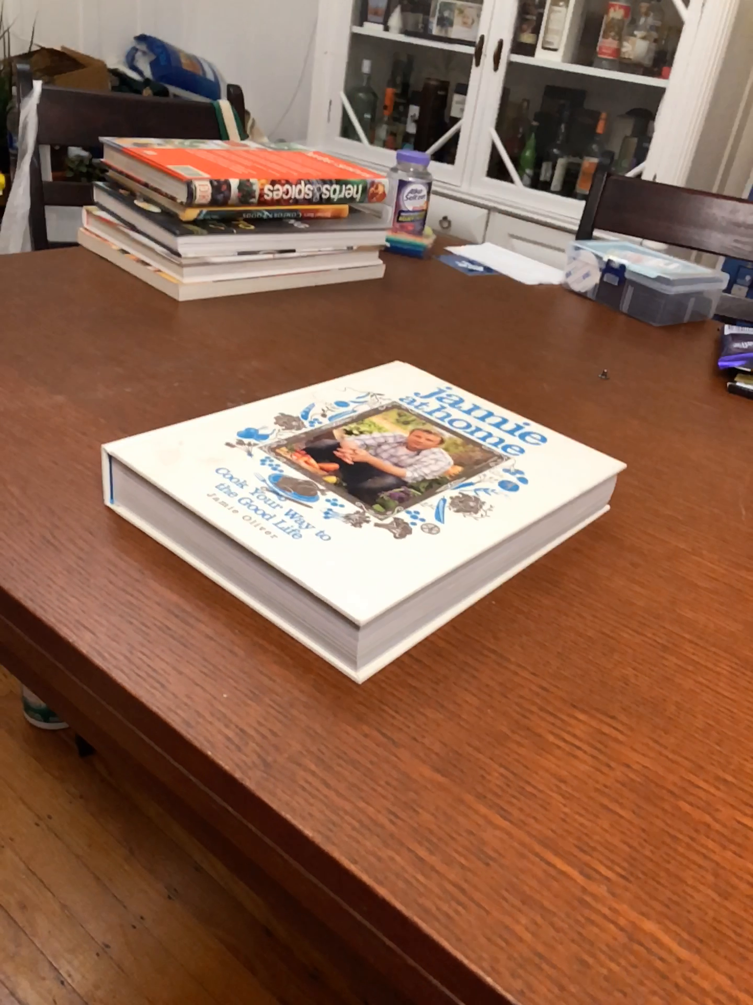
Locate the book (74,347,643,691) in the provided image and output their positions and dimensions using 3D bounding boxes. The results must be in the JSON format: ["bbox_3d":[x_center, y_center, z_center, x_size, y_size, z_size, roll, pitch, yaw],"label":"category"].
[{"bbox_3d":[-0.001,-0.019,0.489,0.210,0.040,0.261,29,35,32],"label":"book"}]
